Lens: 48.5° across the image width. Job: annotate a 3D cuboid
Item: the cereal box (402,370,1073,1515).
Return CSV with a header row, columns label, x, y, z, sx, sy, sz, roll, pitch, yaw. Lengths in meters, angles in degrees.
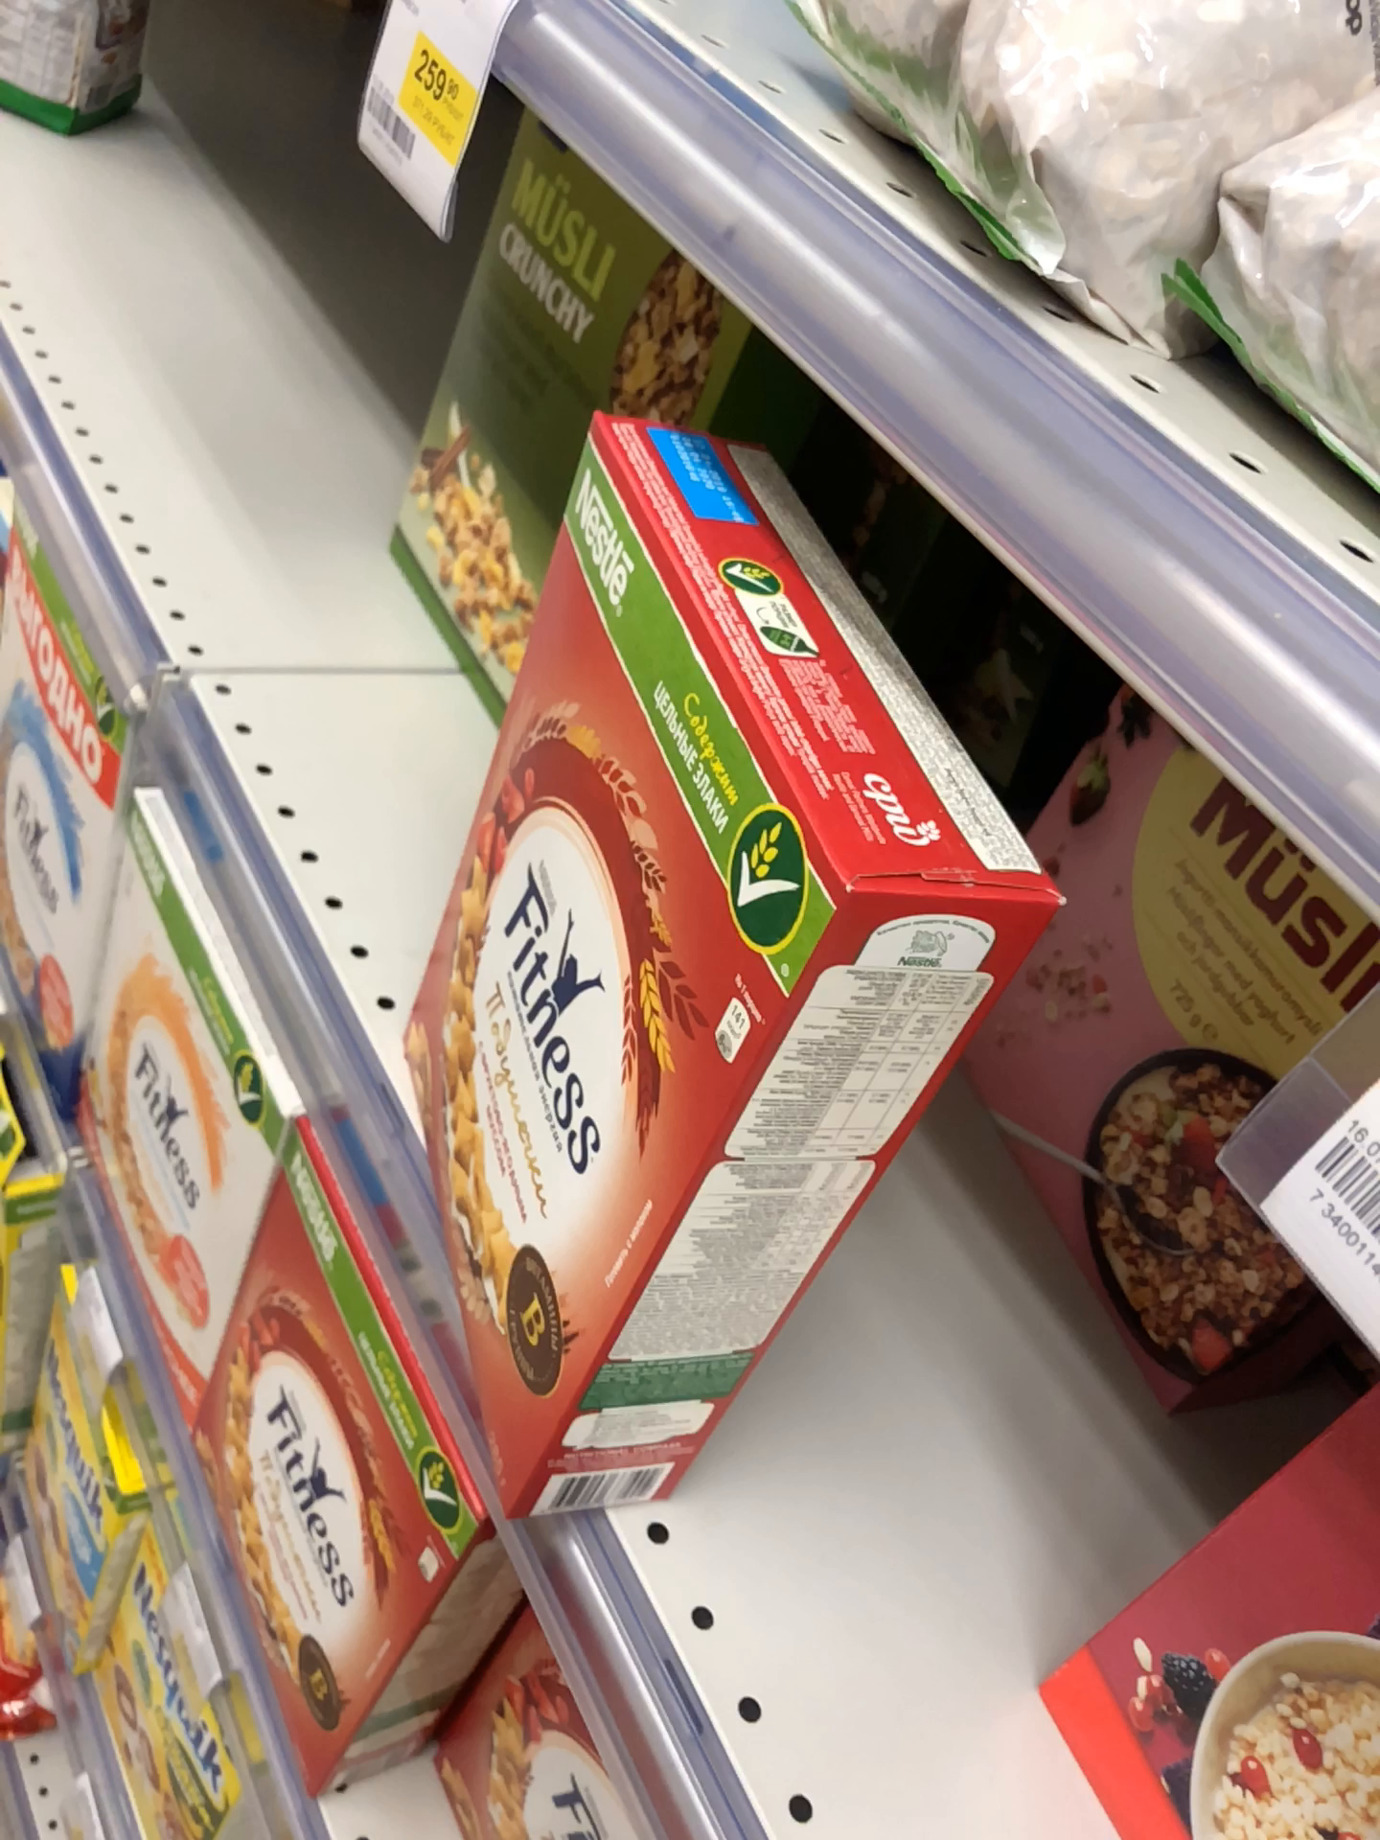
label,x,y,z,sx,sy,sz,roll,pitch,yaw
cereal box,-0.014,0.012,0.408,0.050,0.239,0.181,2,43,-25
